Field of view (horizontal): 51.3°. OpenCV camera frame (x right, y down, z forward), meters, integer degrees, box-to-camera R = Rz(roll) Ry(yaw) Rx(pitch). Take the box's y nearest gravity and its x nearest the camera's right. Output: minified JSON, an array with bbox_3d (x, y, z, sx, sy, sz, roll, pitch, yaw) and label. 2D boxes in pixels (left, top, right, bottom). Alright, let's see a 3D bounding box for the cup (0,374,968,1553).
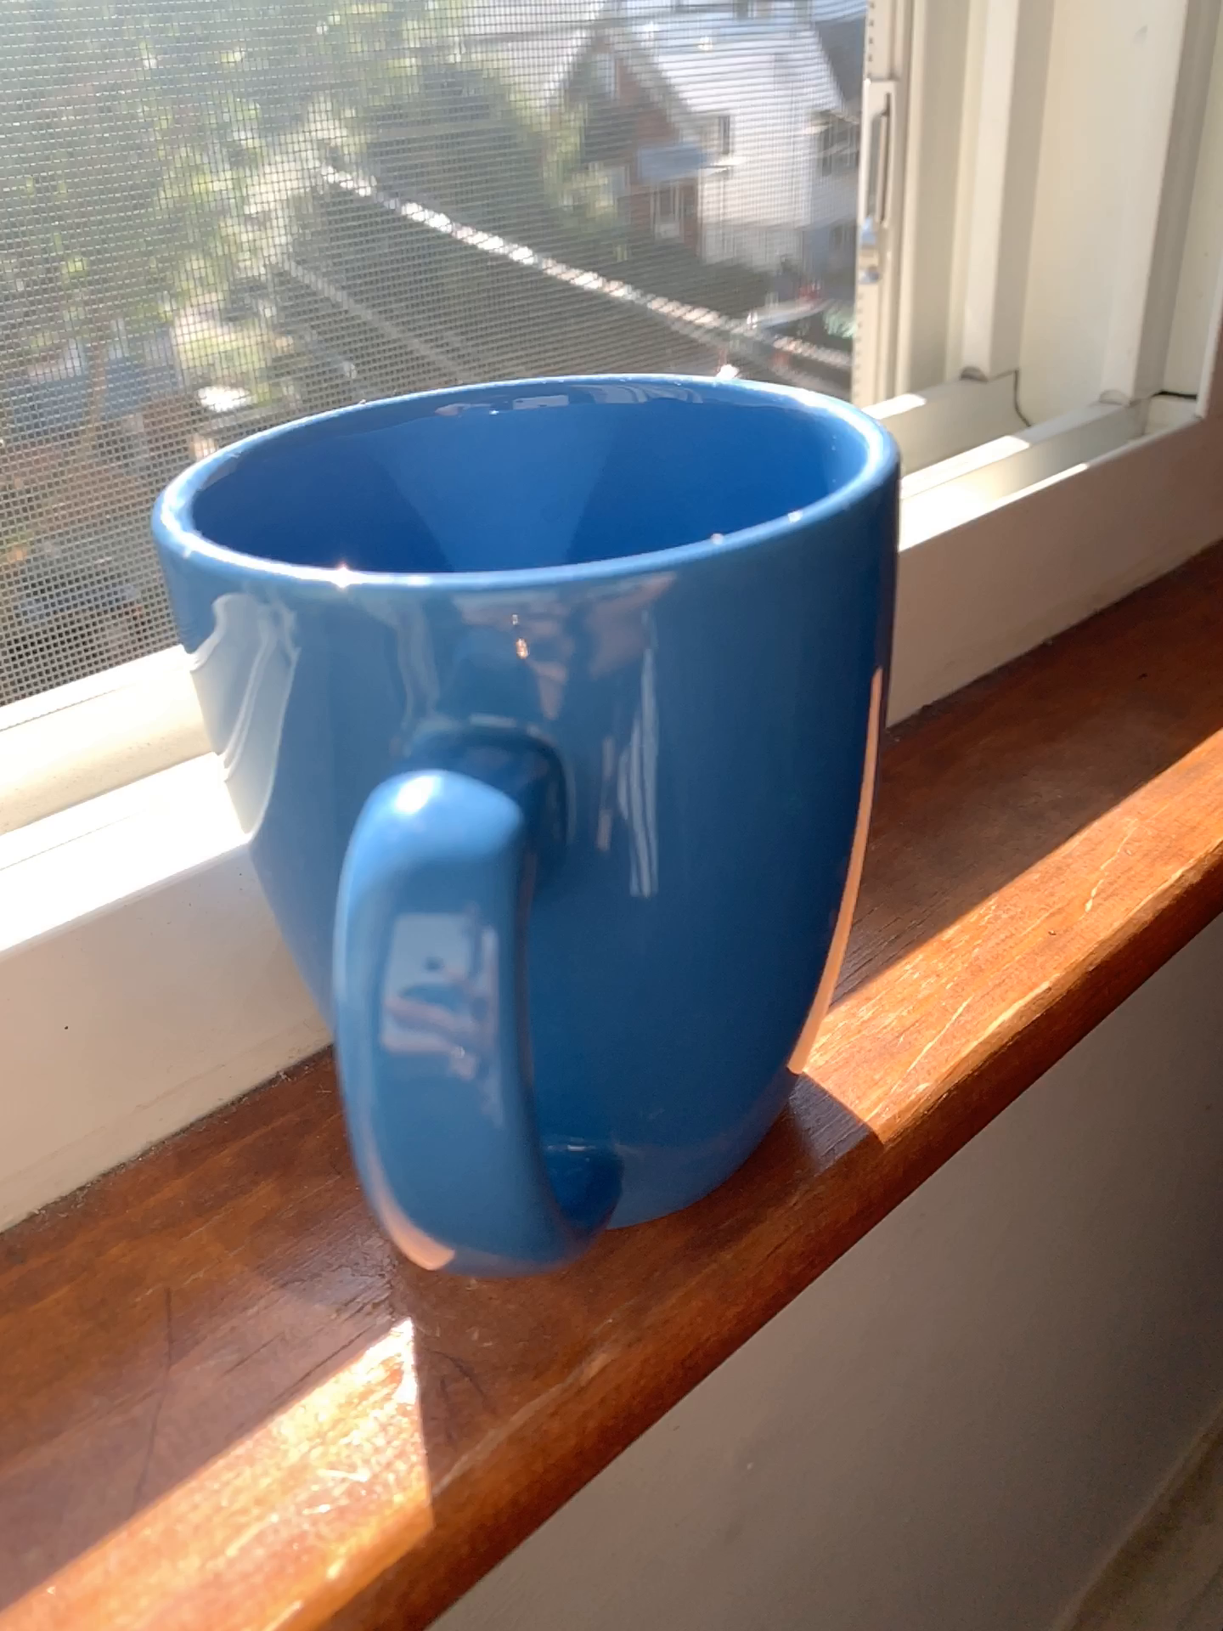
[{"bbox_3d":[-0.007,0.006,0.163,0.081,0.095,0.114,2,31,8],"label":"cup"}]
